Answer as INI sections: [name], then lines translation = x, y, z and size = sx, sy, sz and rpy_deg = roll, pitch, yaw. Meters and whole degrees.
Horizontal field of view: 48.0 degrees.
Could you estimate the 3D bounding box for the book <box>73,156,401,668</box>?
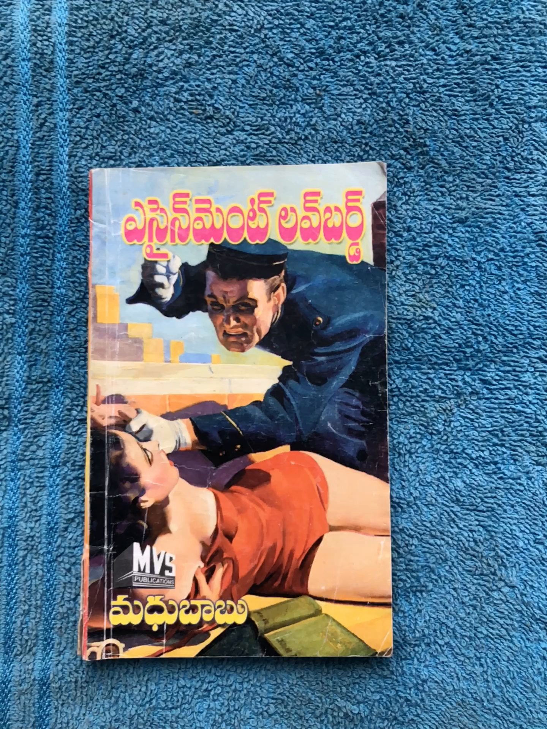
[book]
translation = -0.011, 0.013, 0.208
size = 0.100, 0.030, 0.160
rpy_deg = 0, 86, 0
